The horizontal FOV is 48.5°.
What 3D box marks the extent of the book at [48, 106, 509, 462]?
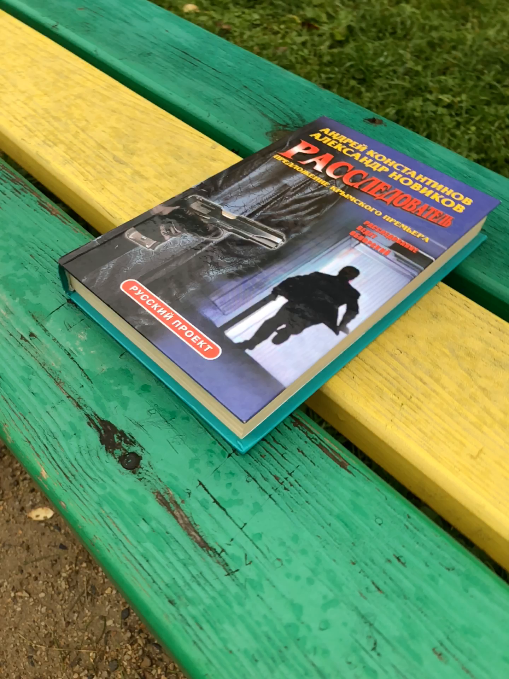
[{"bbox_3d":[0.020,-0.051,0.302,0.139,0.031,0.202,38,58,26],"label":"book"}]
